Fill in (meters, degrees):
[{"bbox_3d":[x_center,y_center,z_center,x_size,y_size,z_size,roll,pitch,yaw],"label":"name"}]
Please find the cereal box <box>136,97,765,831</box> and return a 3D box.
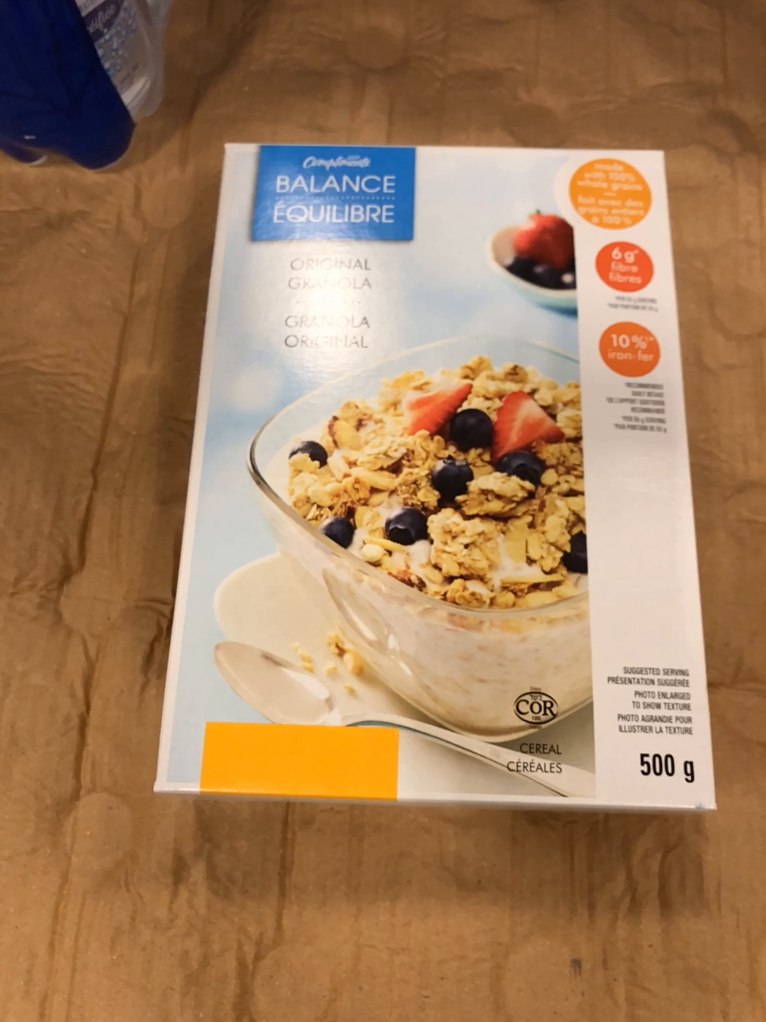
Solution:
[{"bbox_3d":[0.025,-0.024,0.302,0.180,0.050,0.250,2,71,0],"label":"cereal box"}]
